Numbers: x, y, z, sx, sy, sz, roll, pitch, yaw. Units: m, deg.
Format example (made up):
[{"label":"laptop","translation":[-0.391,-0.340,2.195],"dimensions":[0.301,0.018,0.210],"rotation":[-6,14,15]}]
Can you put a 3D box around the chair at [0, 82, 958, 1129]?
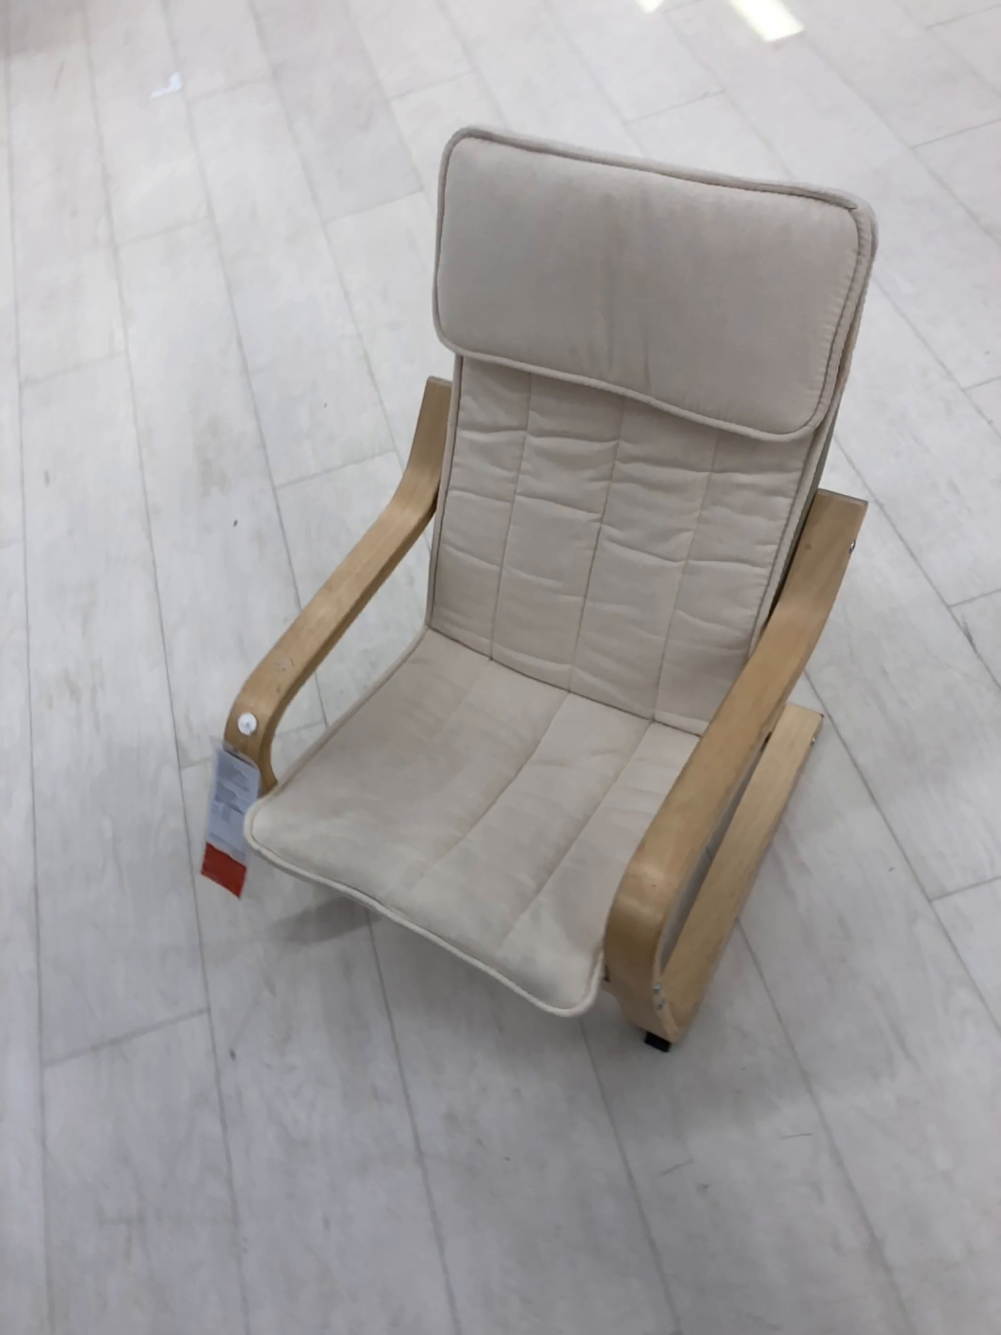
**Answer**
[{"label":"chair","translation":[0.011,-0.028,1.048],"dimensions":[0.531,0.689,0.560],"rotation":[22,63,23]}]
